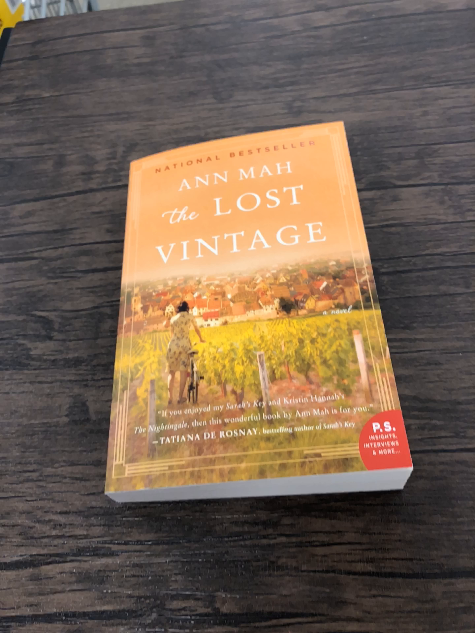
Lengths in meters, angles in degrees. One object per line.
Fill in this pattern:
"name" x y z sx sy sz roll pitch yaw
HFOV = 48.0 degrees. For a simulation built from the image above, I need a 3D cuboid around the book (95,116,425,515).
"book" 0.005 -0.009 0.280 0.134 0.040 0.200 -7 61 7
